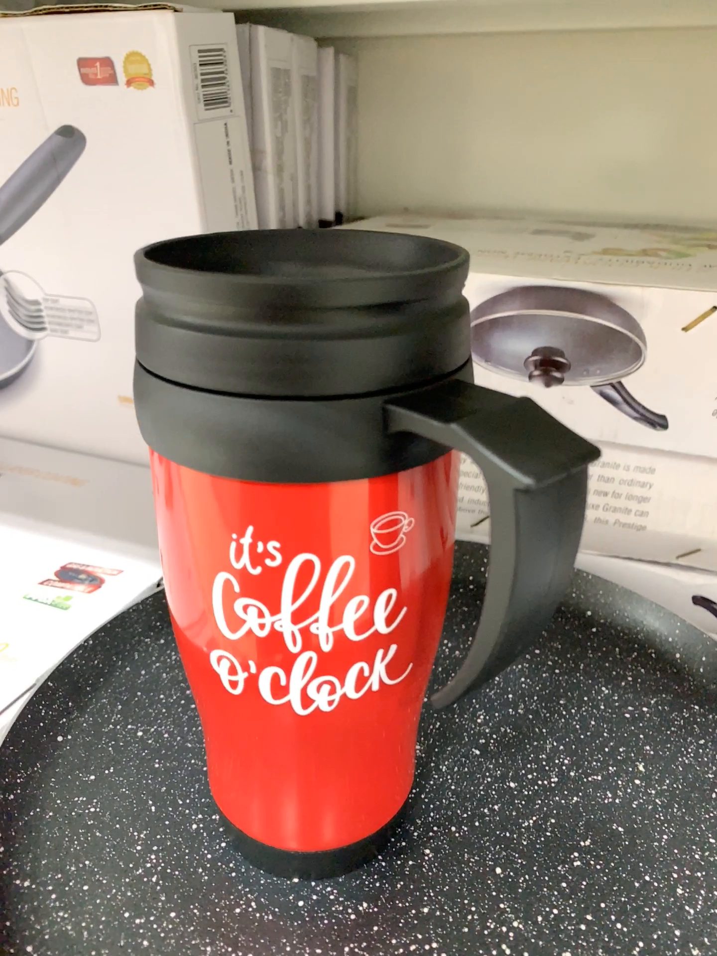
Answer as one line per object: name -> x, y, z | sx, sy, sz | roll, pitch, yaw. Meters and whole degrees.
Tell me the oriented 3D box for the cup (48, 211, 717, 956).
cup -> 0.005, 0.027, 0.193 | 0.120, 0.169, 0.090 | 21, 31, 38
